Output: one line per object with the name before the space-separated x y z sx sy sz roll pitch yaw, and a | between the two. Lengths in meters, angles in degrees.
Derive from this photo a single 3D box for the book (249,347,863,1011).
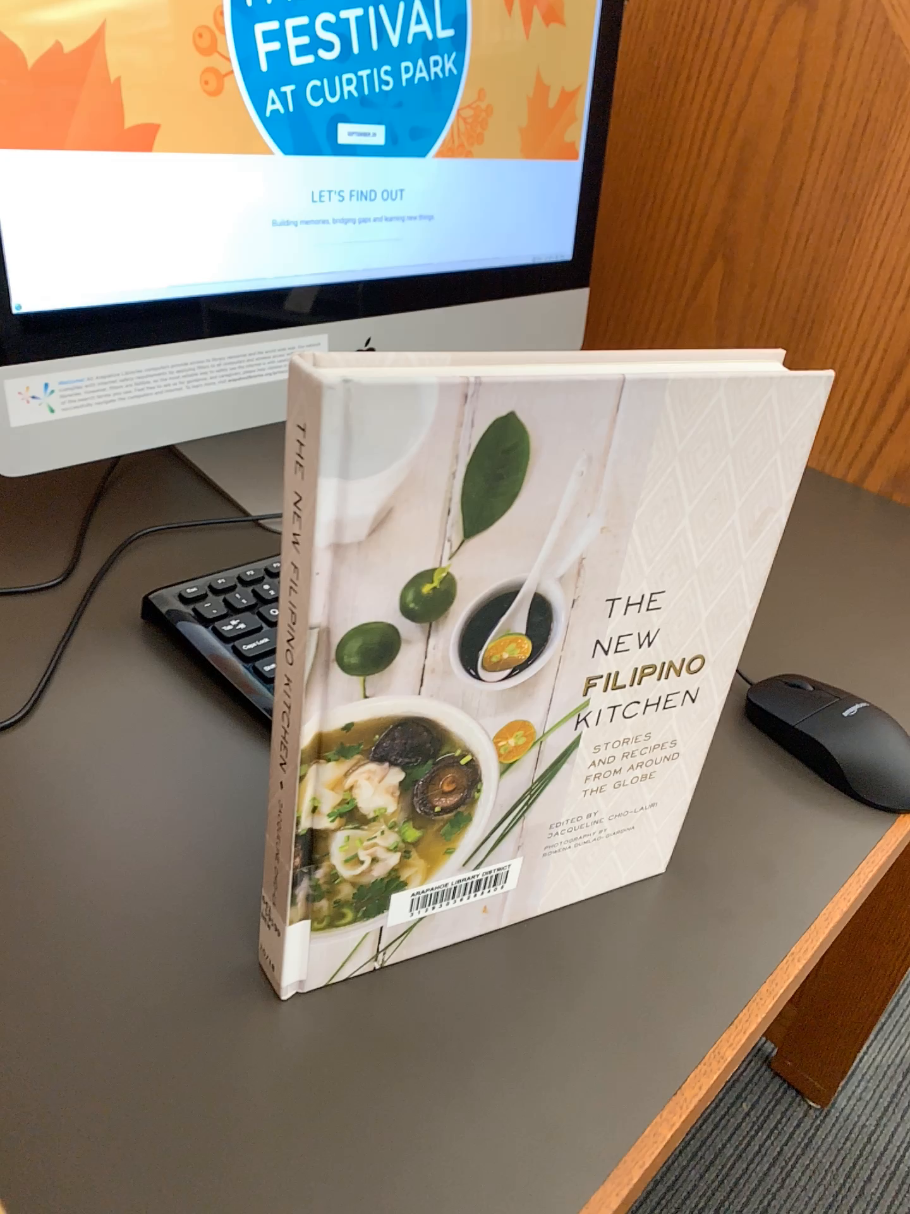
book | 0.028 0.027 0.334 0.193 0.229 0.030 -8 34 -27
